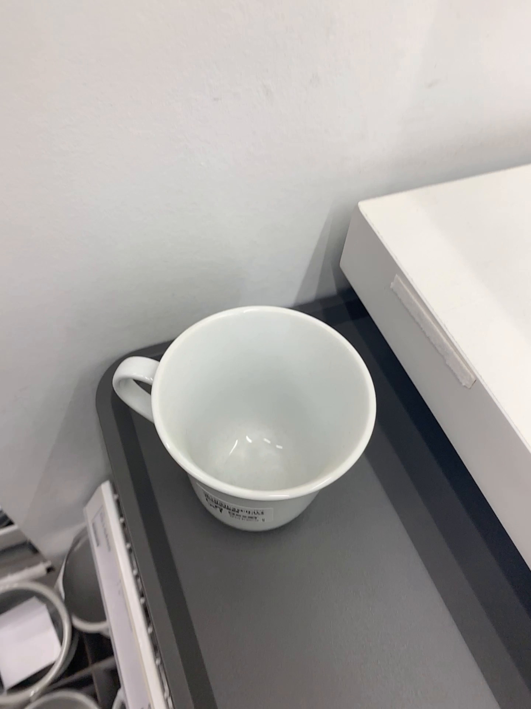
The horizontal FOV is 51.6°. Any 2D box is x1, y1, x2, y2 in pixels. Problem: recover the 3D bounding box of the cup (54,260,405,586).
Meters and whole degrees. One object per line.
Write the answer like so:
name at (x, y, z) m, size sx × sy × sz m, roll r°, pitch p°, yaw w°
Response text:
cup at (-0.012, 0.037, 0.280) m, size 0.130 × 0.100 × 0.100 m, roll 14°, pitch 54°, yaw 5°
